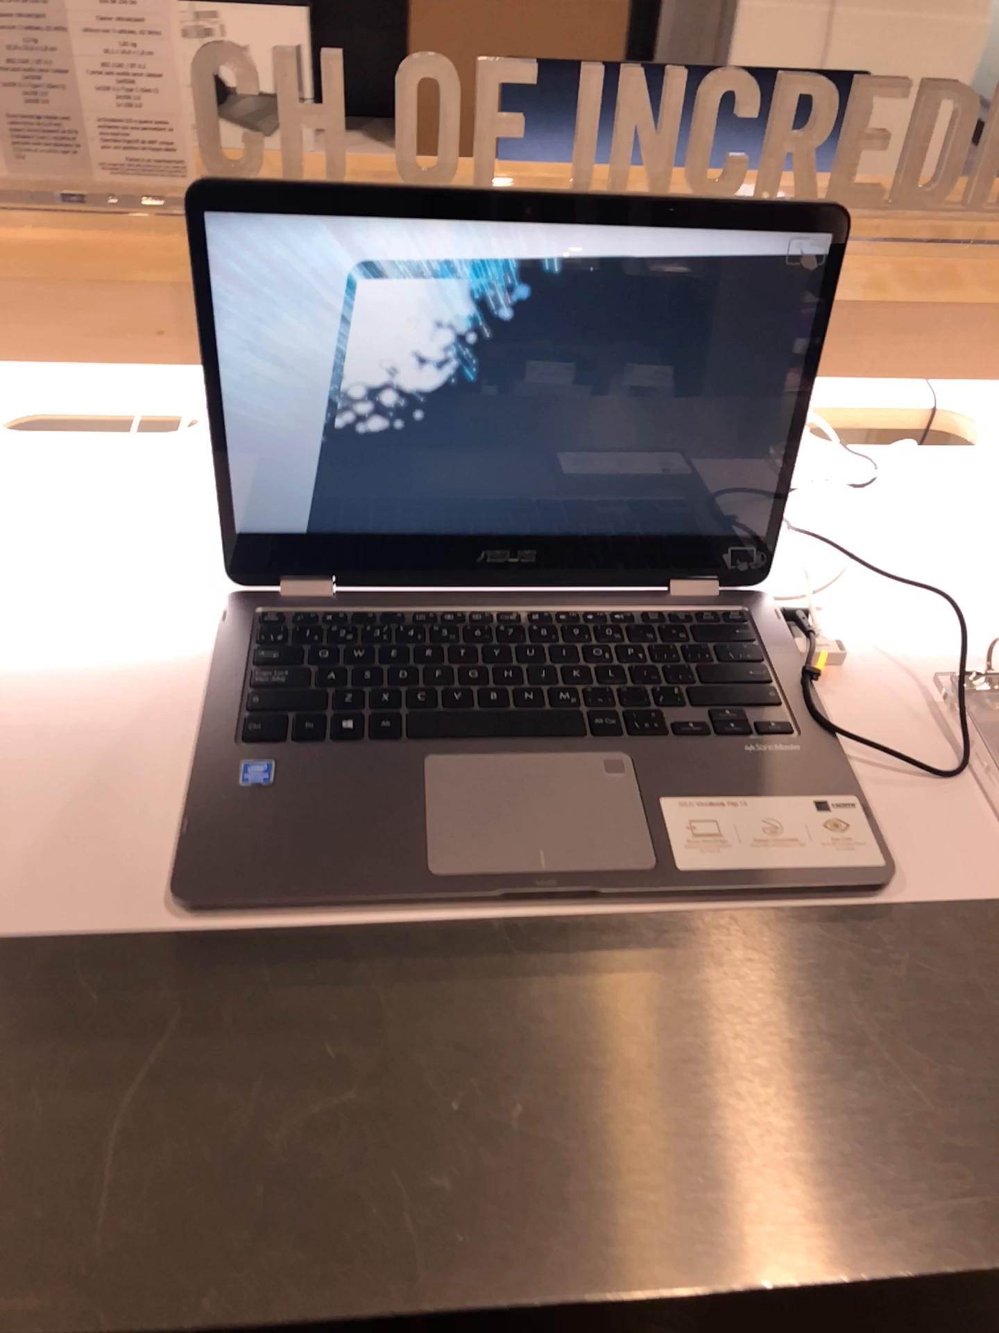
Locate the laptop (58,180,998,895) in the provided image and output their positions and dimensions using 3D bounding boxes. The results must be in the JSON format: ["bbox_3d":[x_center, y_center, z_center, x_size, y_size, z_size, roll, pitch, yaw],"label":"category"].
[{"bbox_3d":[0.013,-0.058,0.468,0.303,0.211,0.211,0,41,-5],"label":"laptop"}]
